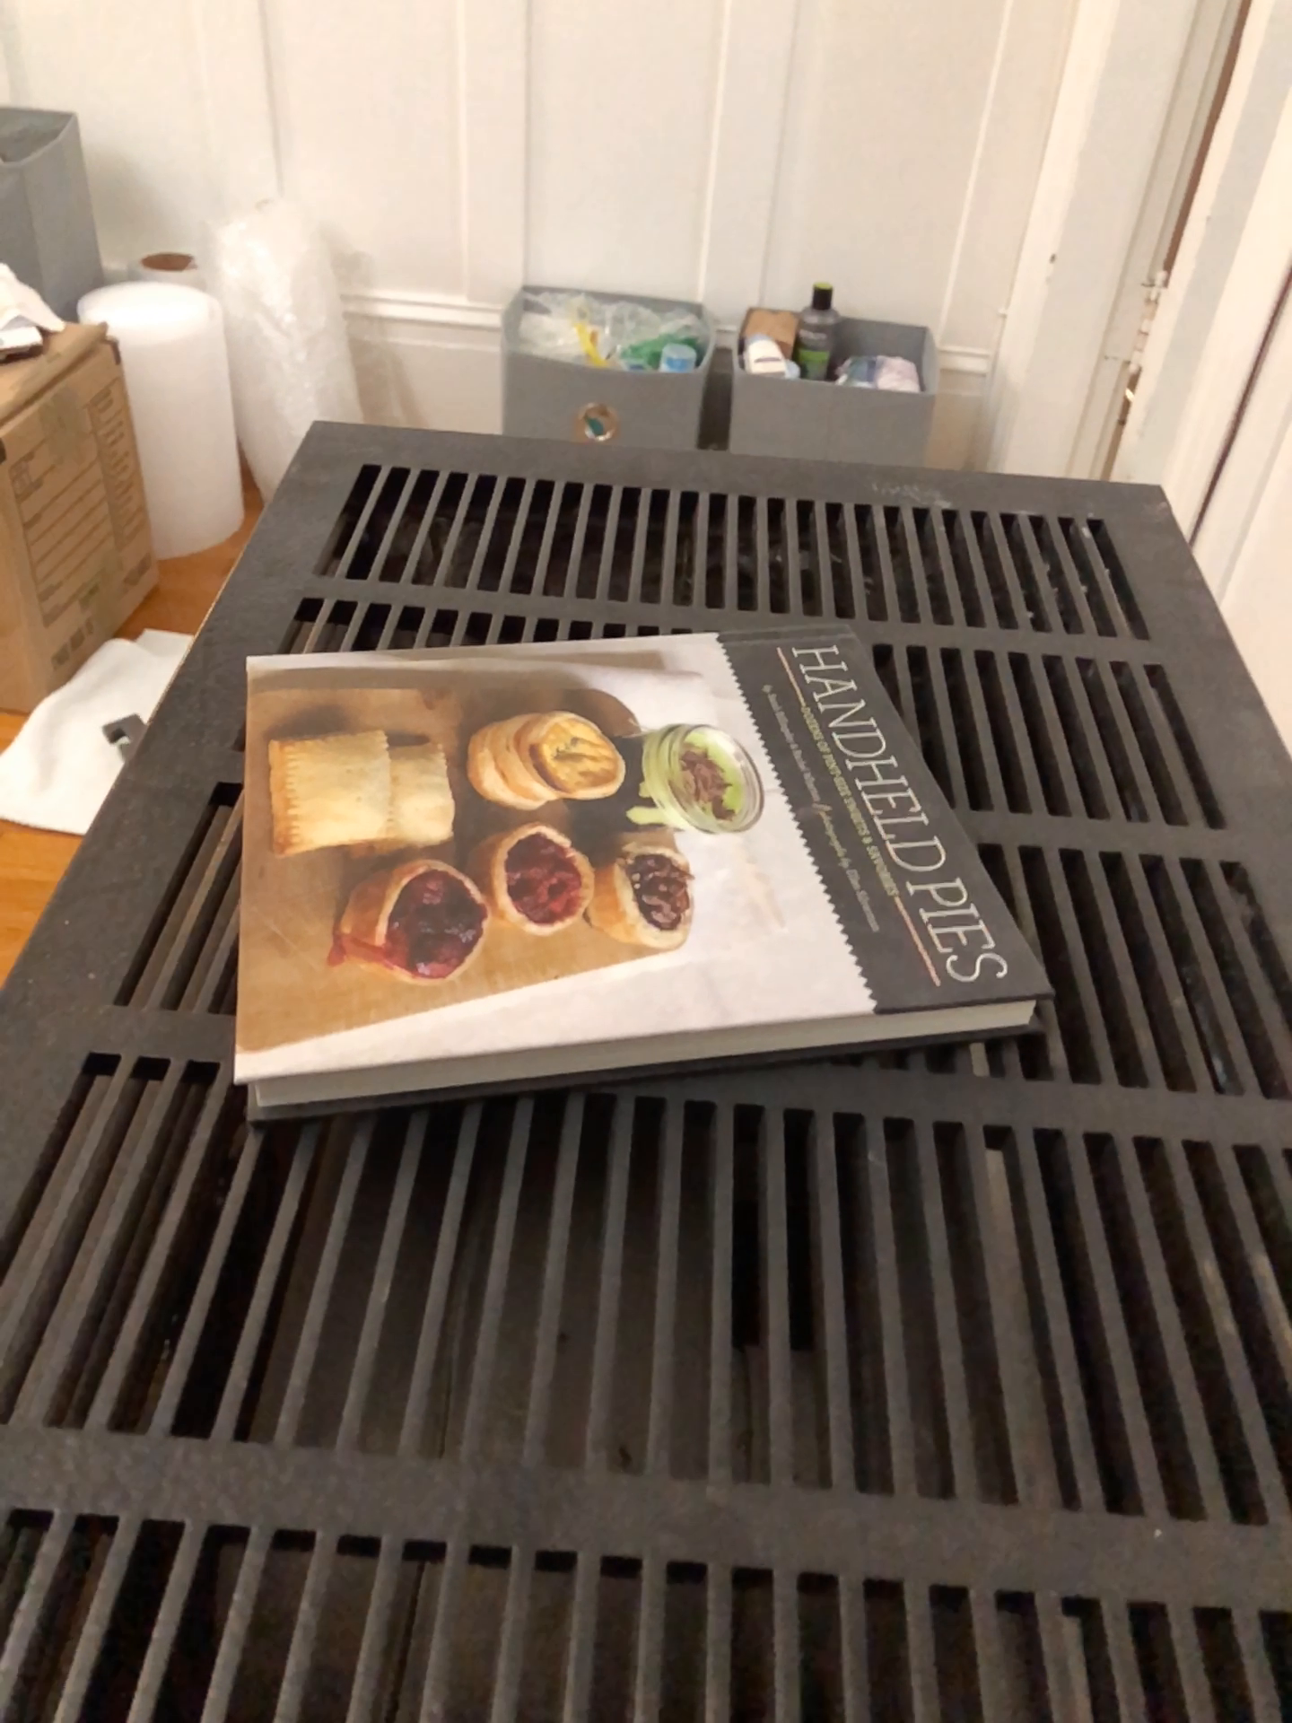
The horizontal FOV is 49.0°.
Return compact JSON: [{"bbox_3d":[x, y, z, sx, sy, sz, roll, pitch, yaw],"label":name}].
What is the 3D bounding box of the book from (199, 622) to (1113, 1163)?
[{"bbox_3d":[-0.010,-0.008,0.430,0.230,0.020,0.201,-4,40,-11],"label":"book"}]
